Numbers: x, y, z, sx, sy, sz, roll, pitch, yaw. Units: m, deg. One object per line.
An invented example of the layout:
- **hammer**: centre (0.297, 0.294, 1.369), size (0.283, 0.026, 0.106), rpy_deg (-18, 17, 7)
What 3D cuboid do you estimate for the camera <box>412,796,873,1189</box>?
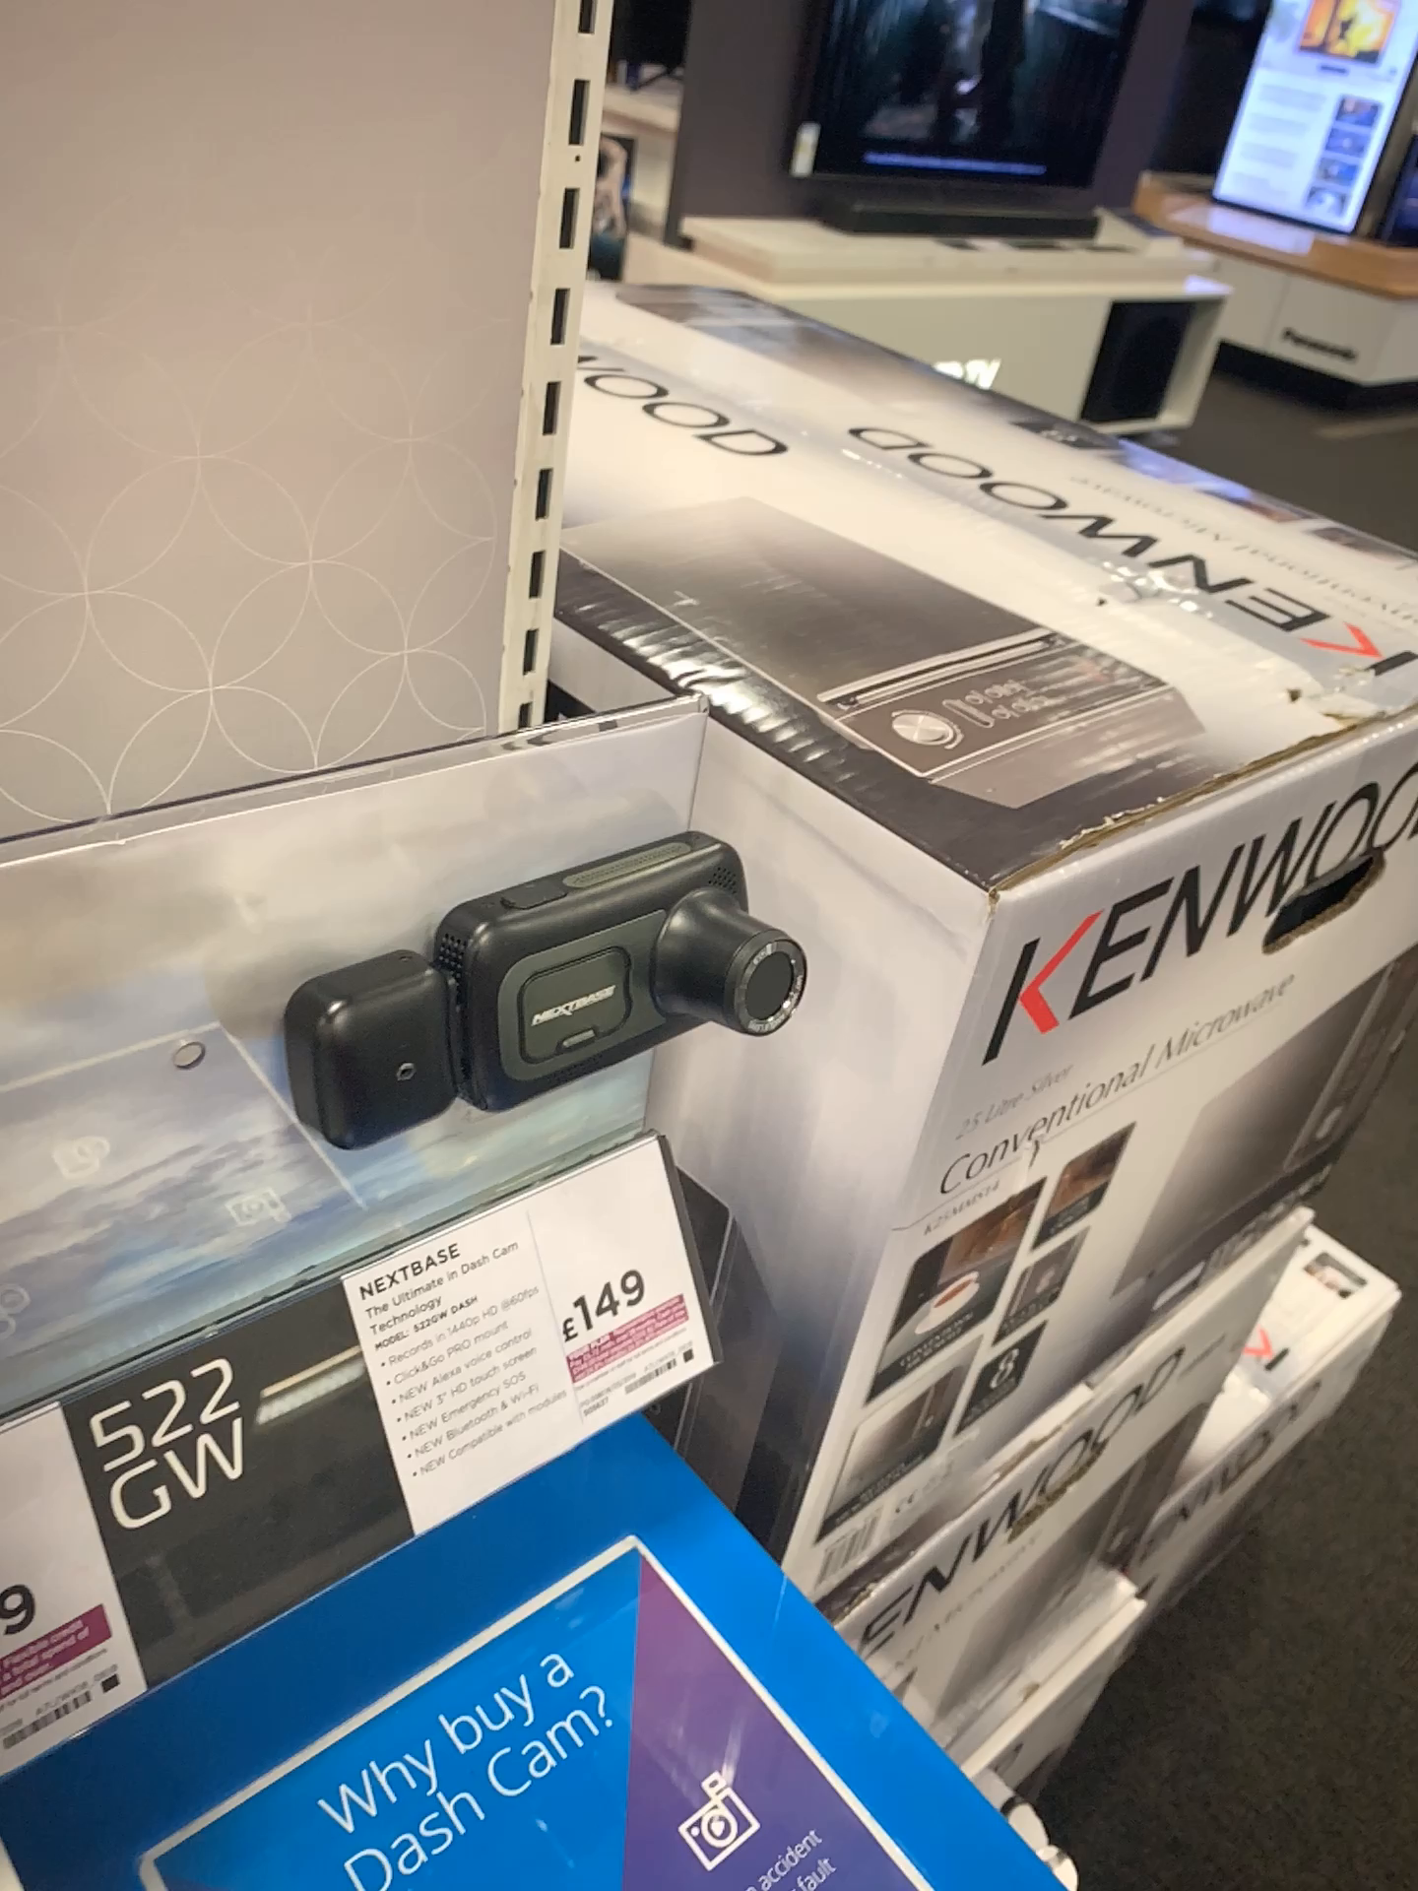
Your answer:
- **camera**: centre (-0.017, 0.007, 0.375), size (0.101, 0.050, 0.060), rpy_deg (-23, 41, -40)
